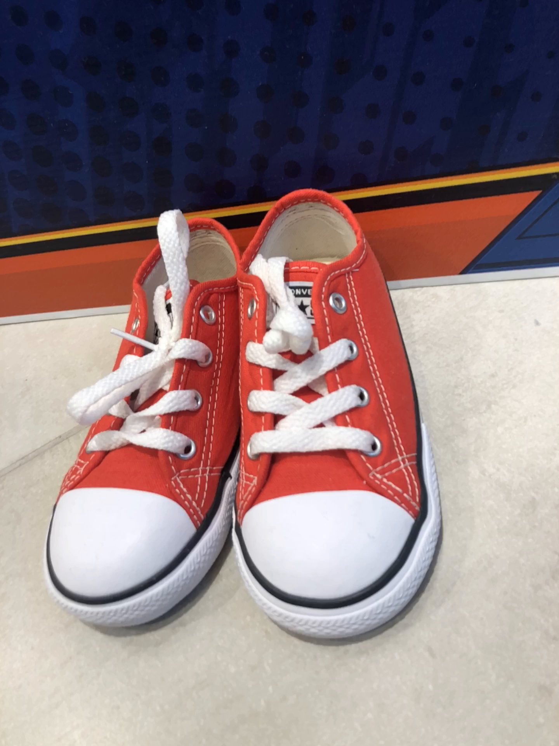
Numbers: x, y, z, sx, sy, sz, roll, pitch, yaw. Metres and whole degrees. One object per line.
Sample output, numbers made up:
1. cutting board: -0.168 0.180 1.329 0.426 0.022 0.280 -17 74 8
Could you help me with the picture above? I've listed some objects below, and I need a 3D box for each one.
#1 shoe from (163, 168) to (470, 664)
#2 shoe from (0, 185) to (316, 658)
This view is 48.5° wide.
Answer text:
1. shoe: 0.018 0.004 0.252 0.080 0.070 0.191 -9 46 12
2. shoe: -0.043 0.007 0.267 0.080 0.070 0.191 -2 47 17
